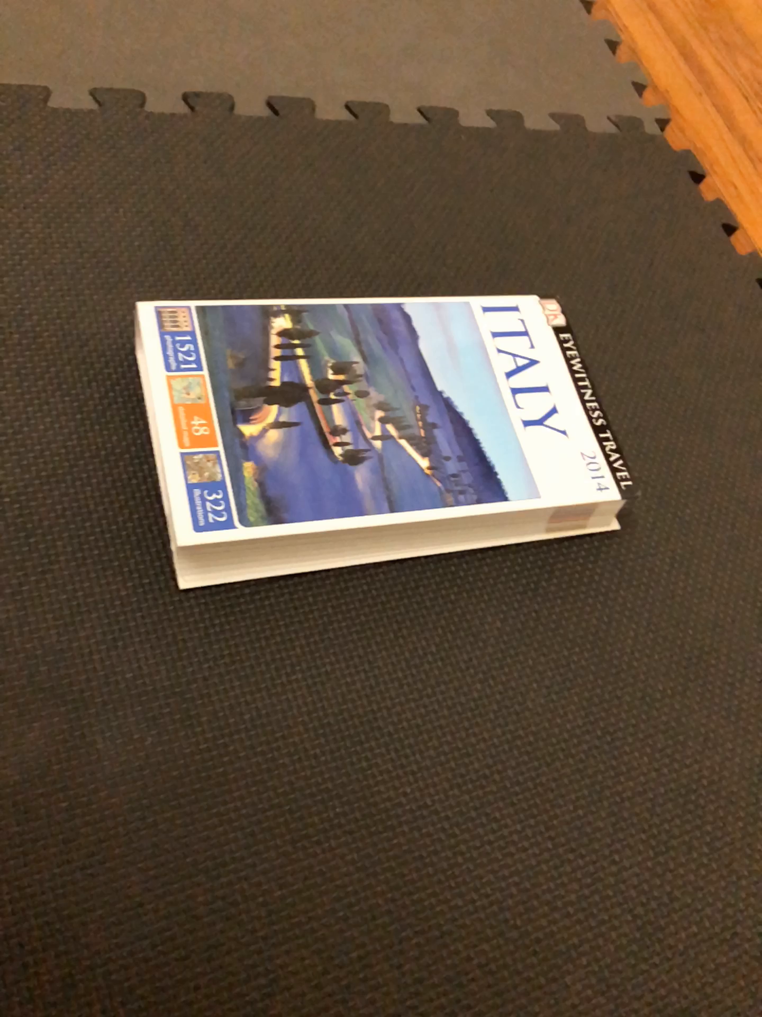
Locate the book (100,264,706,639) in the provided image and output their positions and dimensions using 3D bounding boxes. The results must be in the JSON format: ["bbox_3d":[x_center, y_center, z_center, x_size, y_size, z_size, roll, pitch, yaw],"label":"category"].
[{"bbox_3d":[0.009,-0.041,0.397,0.250,0.040,0.160,-7,62,-21],"label":"book"}]
